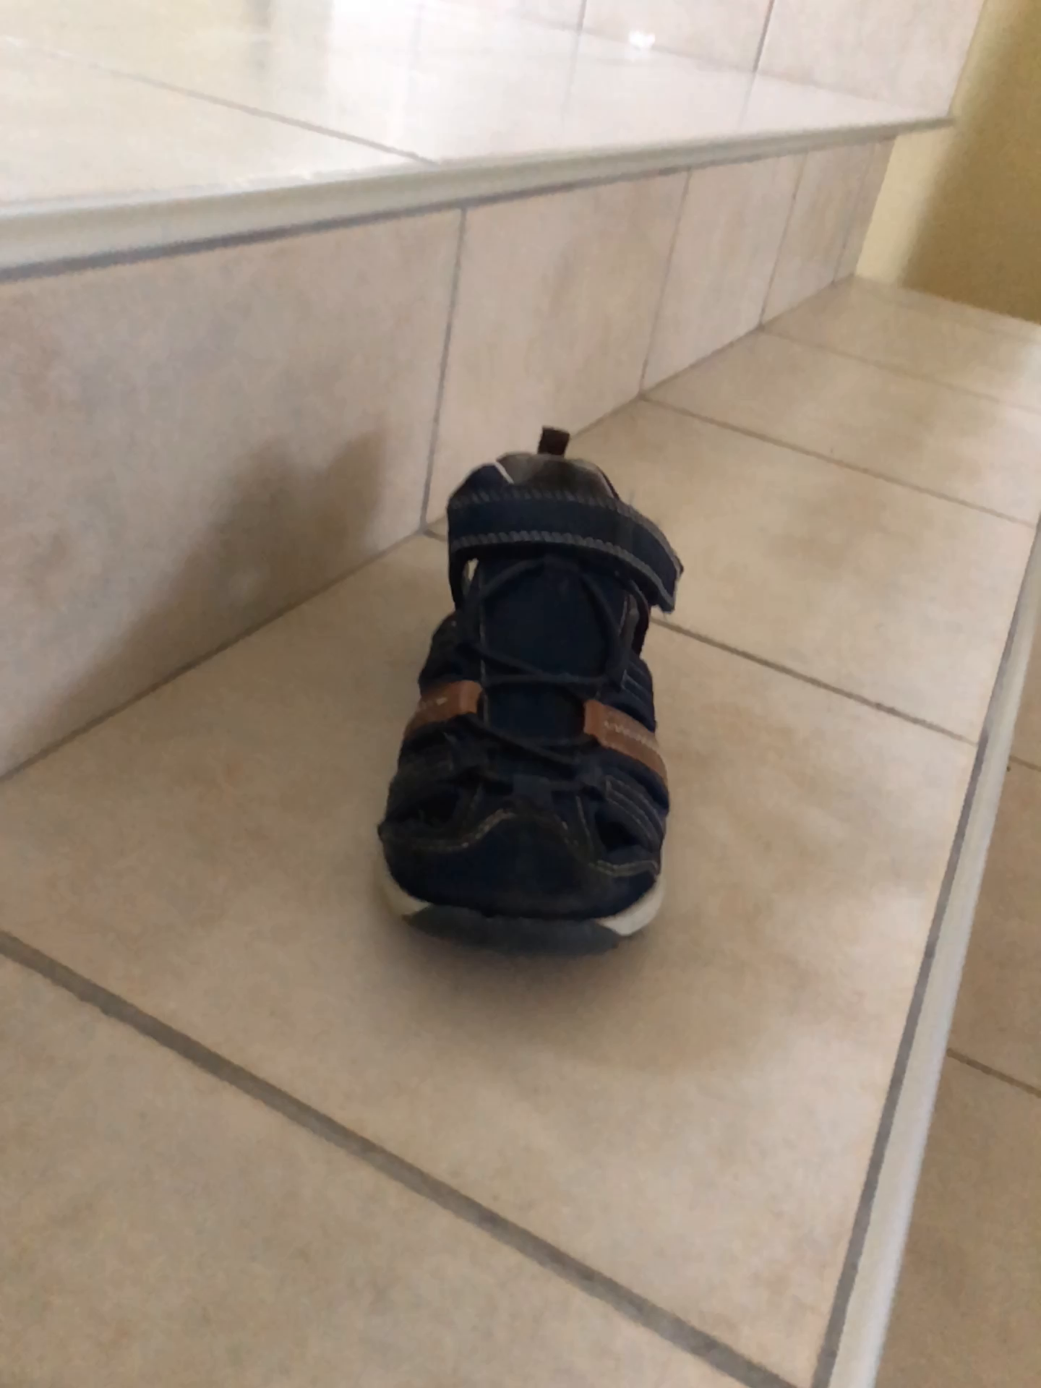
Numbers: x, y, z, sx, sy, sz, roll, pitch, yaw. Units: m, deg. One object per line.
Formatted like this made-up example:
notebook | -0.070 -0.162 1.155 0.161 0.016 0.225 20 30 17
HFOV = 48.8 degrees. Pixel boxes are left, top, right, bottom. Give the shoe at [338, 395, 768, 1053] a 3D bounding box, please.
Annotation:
shoe | 0.002 -0.008 0.379 0.090 0.099 0.221 8 32 -6
